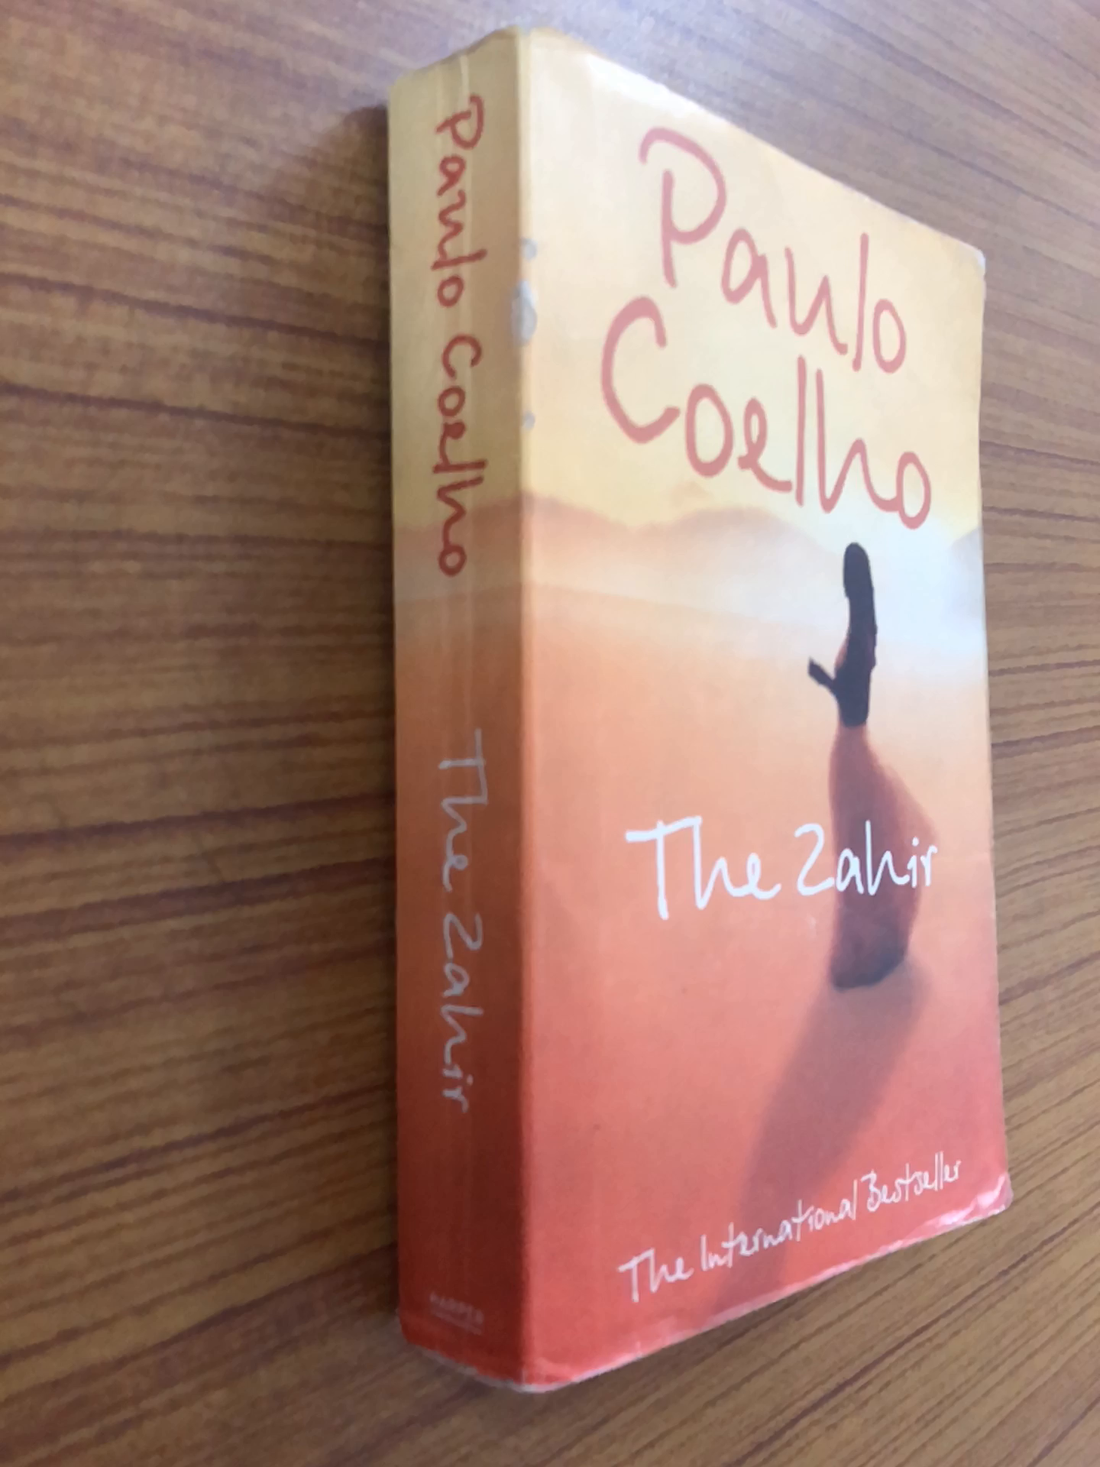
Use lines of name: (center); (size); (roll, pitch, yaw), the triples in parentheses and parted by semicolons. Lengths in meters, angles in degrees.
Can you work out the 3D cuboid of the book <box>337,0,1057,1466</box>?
book: (0.030, -0.002, 0.197); (0.121, 0.040, 0.180); (2, 85, -43)
